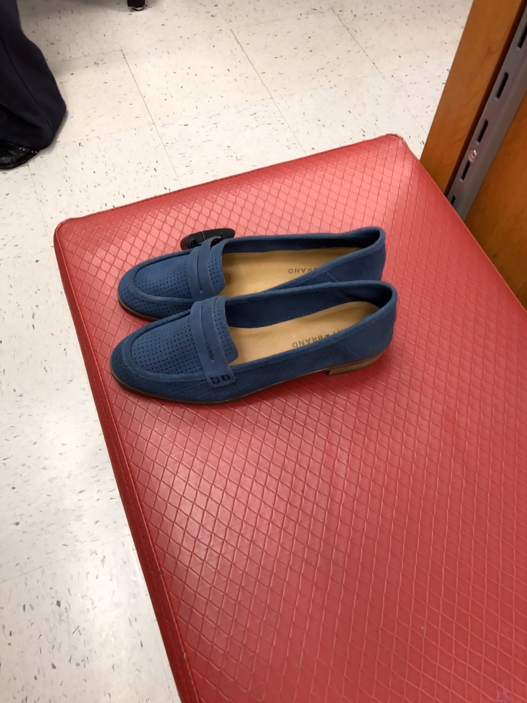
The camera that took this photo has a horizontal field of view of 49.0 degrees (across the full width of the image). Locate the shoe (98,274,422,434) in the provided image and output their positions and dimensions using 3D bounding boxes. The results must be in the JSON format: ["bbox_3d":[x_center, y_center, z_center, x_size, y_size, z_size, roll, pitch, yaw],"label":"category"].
[{"bbox_3d":[-0.006,0.001,0.508,0.258,0.069,0.085,-7,60,-6],"label":"shoe"}]

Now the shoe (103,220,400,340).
[{"bbox_3d":[-0.012,-0.067,0.544,0.253,0.069,0.082,-1,60,-3],"label":"shoe"}]
